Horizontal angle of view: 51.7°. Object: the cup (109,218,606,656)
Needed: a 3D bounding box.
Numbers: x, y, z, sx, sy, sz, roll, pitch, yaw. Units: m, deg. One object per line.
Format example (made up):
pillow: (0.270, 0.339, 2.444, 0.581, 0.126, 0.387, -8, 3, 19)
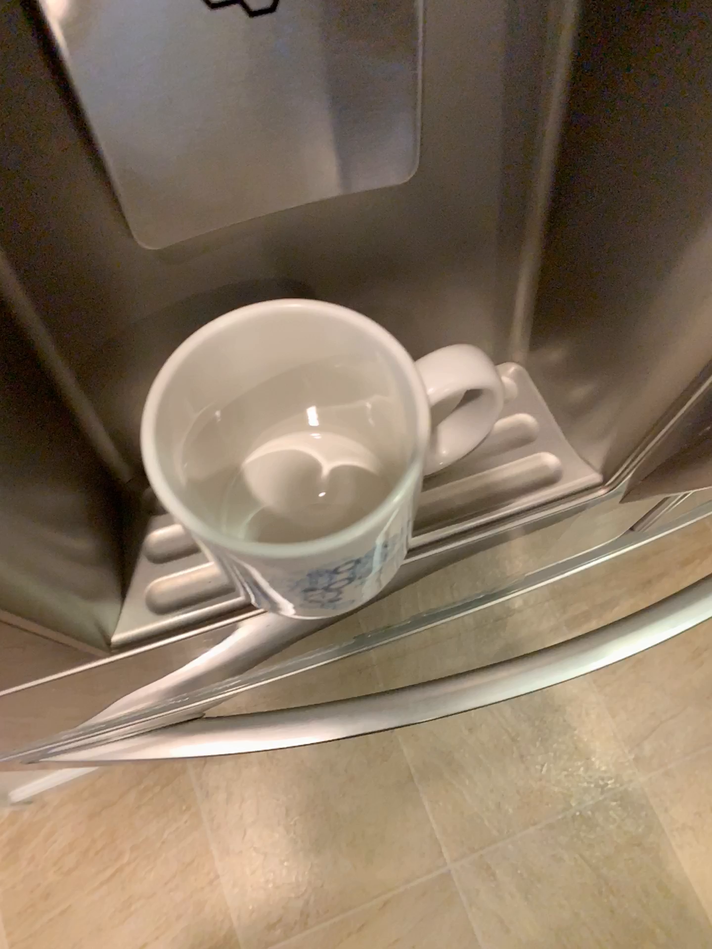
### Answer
cup: (-0.001, -0.006, 0.257, 0.120, 0.100, 0.080, -24, 71, -8)
